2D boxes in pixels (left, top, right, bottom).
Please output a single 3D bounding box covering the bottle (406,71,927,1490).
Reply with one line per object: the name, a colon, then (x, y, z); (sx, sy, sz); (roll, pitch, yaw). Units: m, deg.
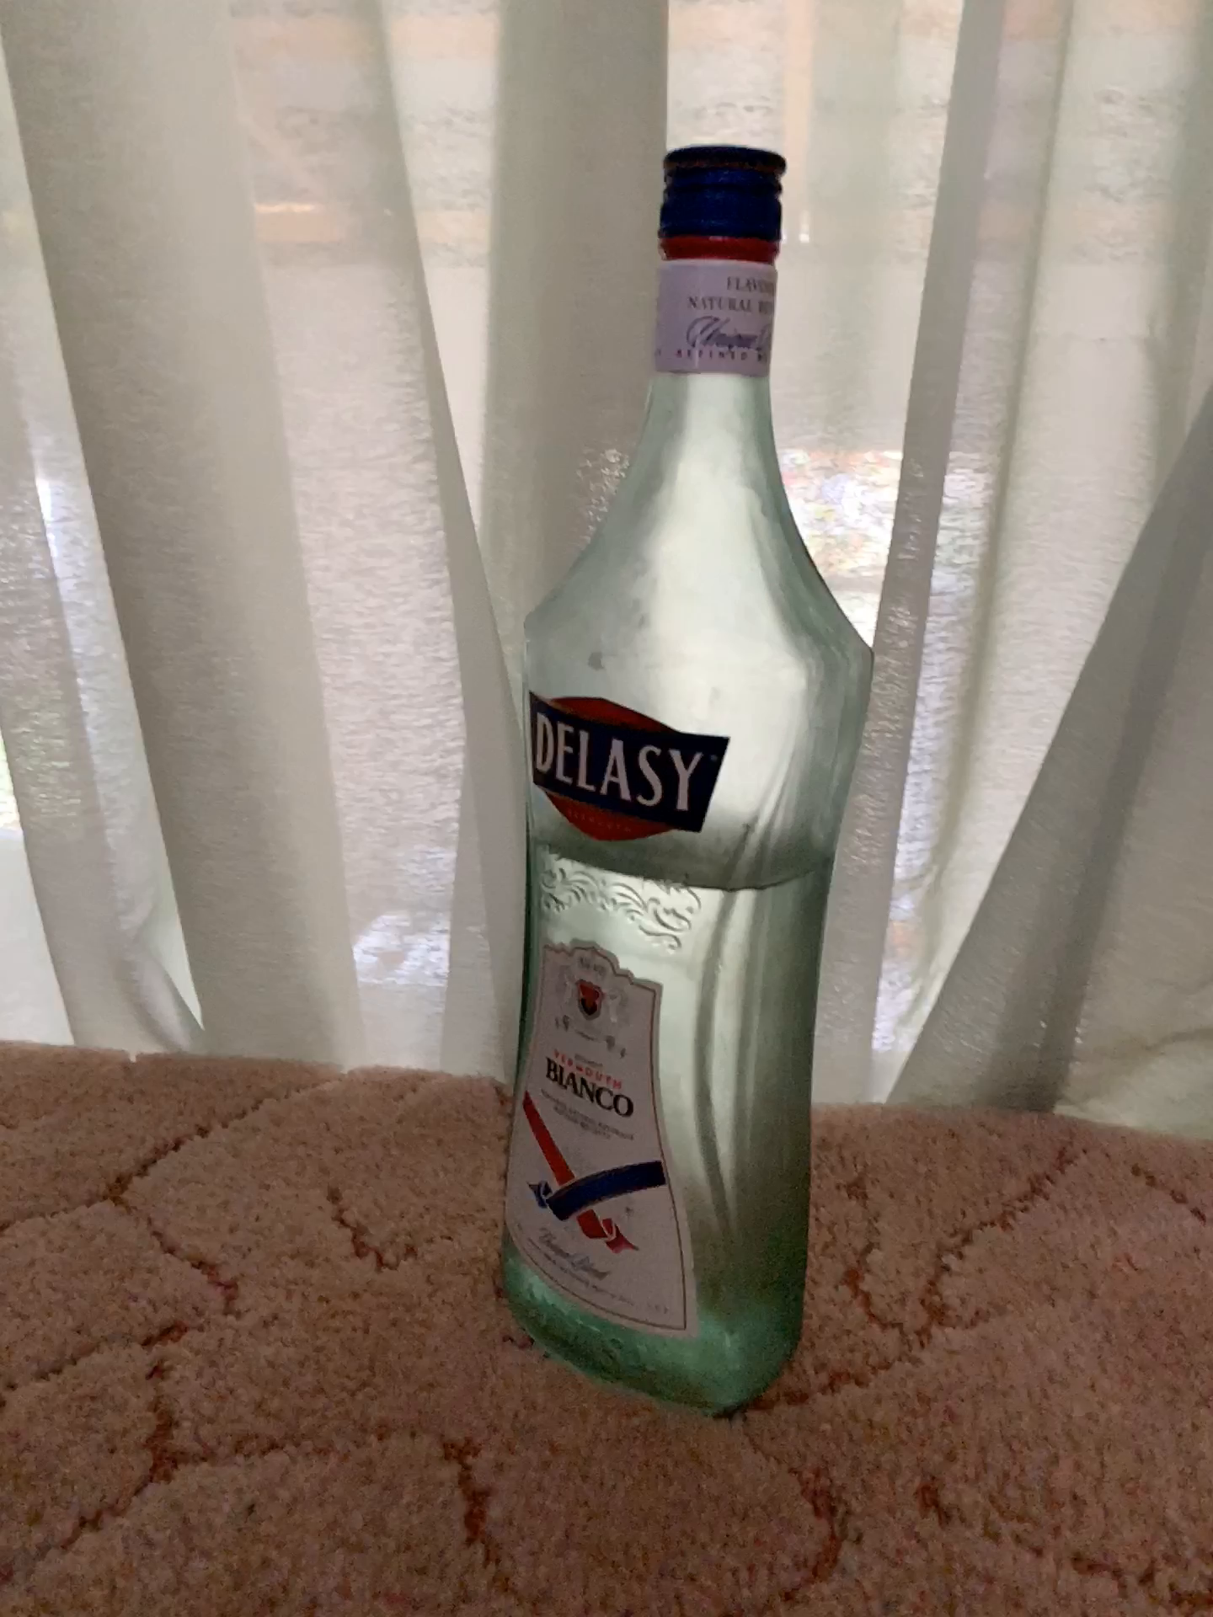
bottle: (0.009, 0.001, 0.336); (0.110, 0.328, 0.060); (15, 21, 42)
